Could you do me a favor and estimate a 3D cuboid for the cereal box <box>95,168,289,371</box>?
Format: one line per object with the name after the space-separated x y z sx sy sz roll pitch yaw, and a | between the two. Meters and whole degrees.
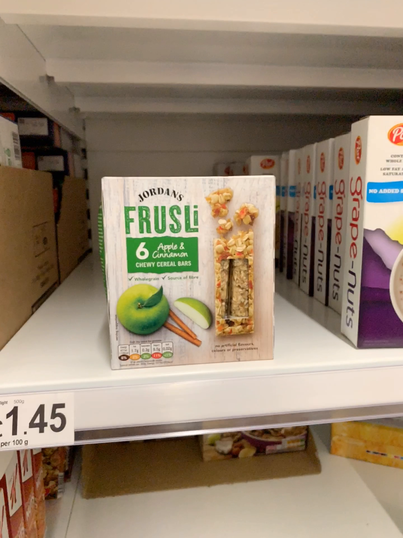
-0.007 -0.003 0.359 0.150 0.159 0.050 -2 10 -8 | cereal box
